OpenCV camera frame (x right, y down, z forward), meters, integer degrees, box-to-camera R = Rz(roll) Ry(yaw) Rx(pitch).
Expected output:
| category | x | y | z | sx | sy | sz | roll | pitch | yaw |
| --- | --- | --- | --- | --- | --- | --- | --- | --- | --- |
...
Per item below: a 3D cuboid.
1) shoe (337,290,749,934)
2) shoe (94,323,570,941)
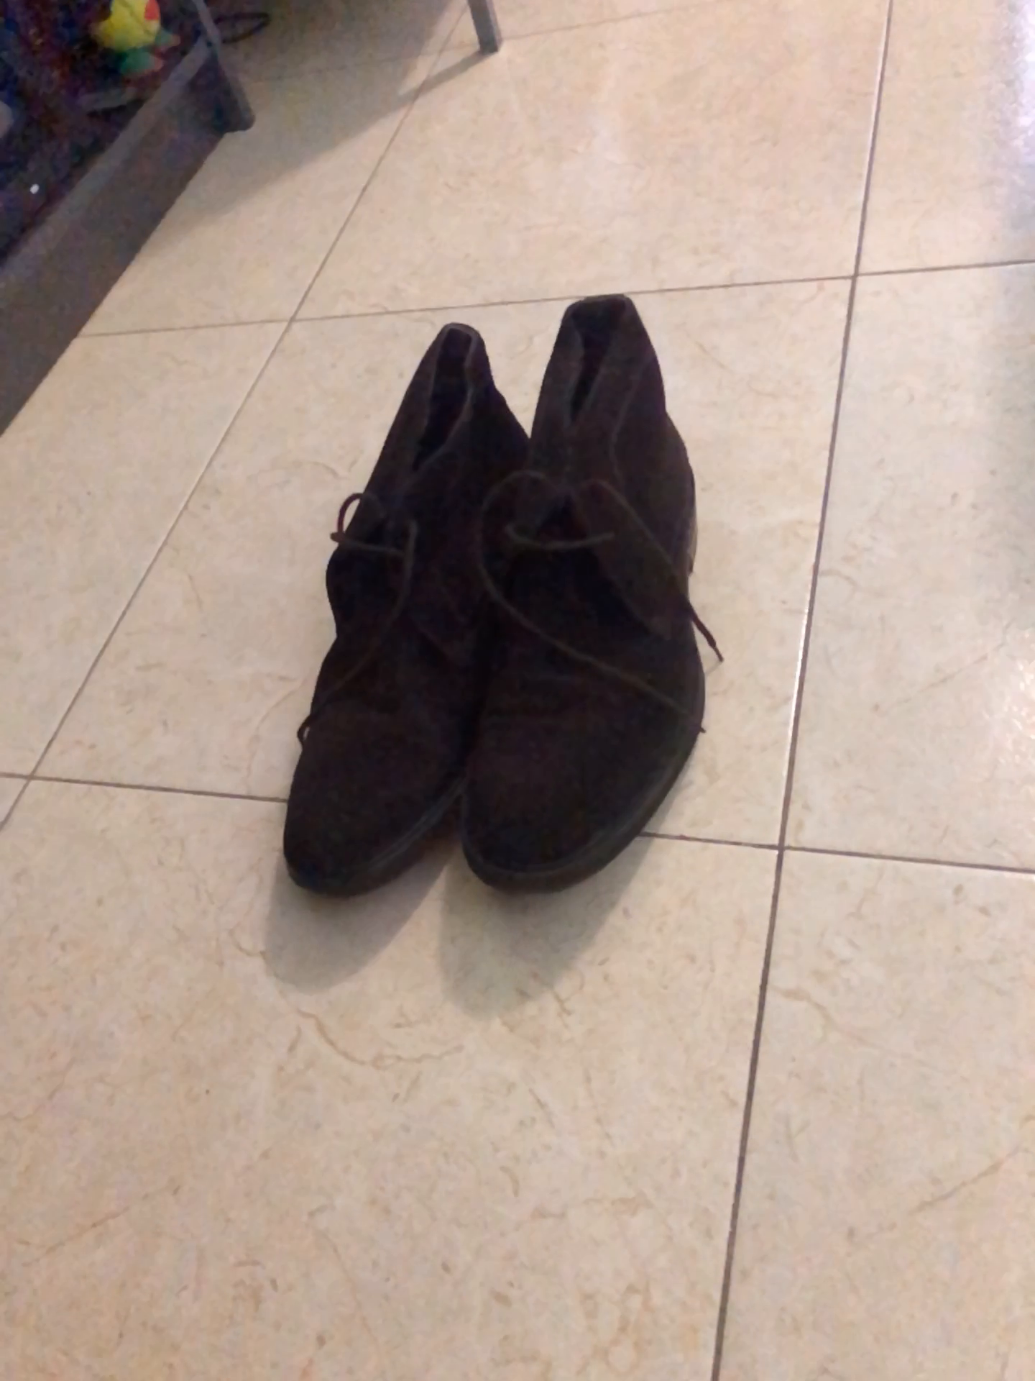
| category | x | y | z | sx | sy | sz | roll | pitch | yaw |
| --- | --- | --- | --- | --- | --- | --- | --- | --- | --- |
| shoe | 0.034 | -0.051 | 0.585 | 0.110 | 0.139 | 0.301 | 3 | 54 | 21 |
| shoe | -0.074 | -0.042 | 0.599 | 0.110 | 0.130 | 0.301 | 3 | 54 | 21 |
